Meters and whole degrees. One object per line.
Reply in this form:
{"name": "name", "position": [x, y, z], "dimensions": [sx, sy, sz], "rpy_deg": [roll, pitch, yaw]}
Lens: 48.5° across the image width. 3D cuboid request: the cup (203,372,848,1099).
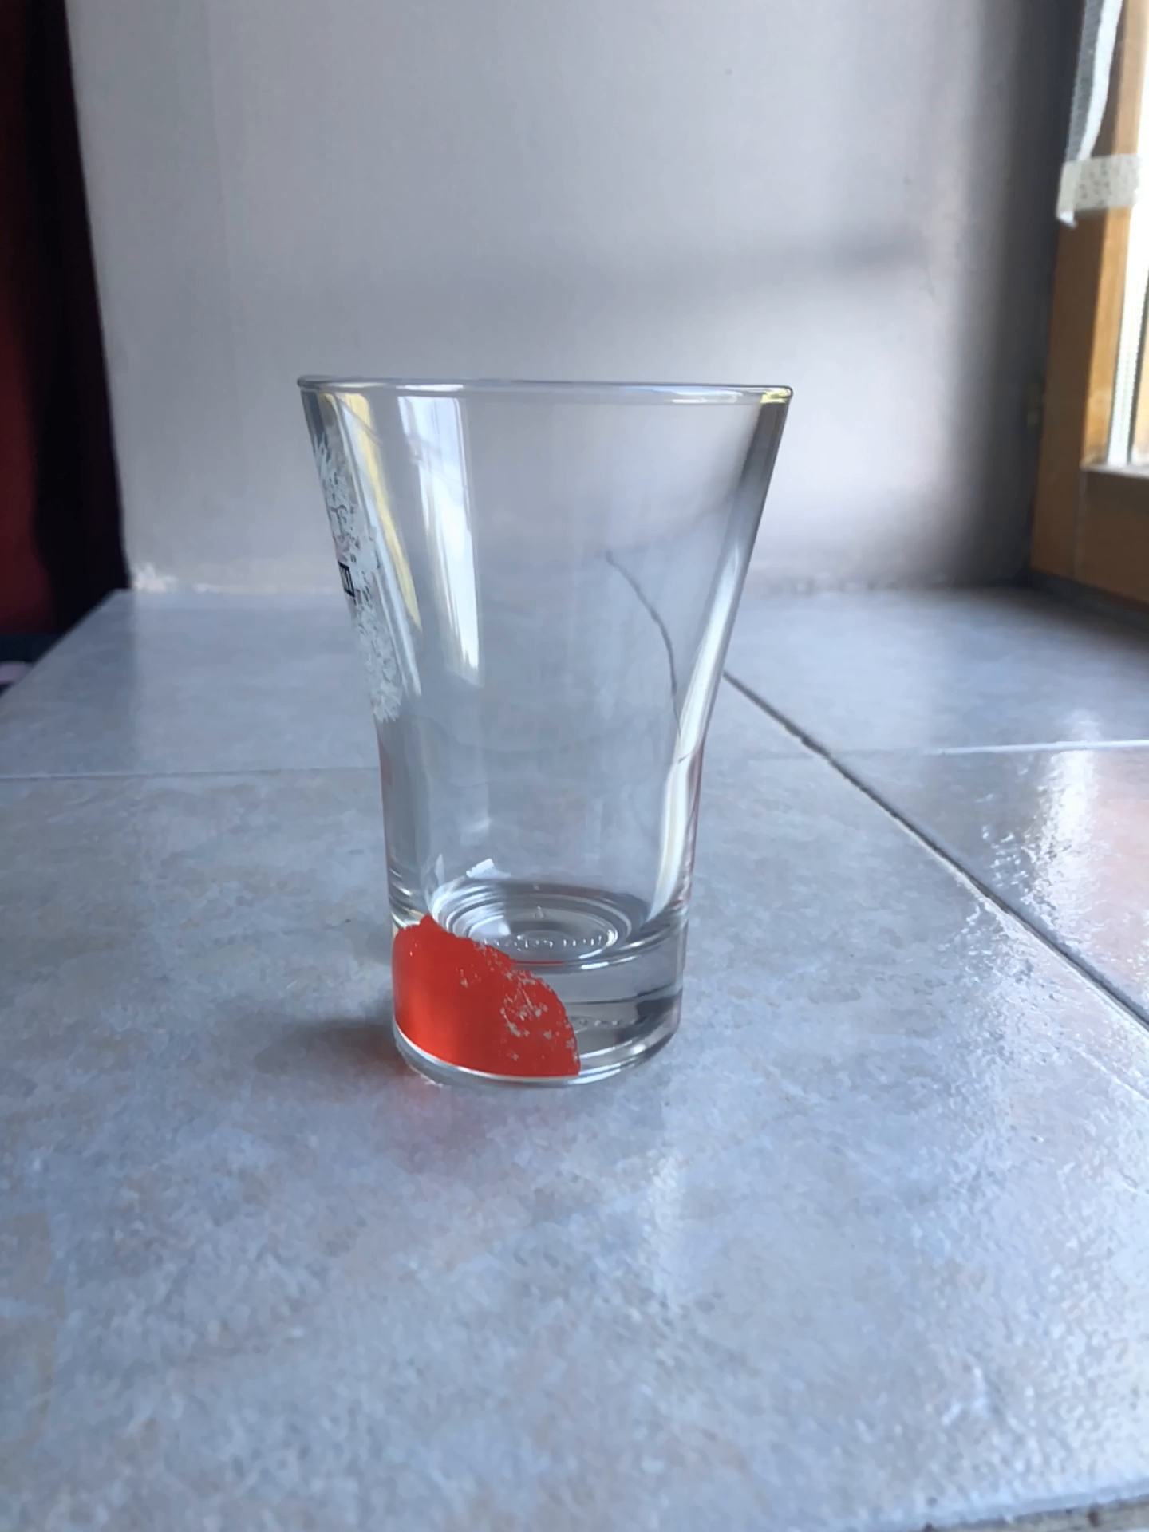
{"name": "cup", "position": [-0.007, -0.014, 0.245], "dimensions": [0.092, 0.116, 0.096], "rpy_deg": [0, 17, 0]}
